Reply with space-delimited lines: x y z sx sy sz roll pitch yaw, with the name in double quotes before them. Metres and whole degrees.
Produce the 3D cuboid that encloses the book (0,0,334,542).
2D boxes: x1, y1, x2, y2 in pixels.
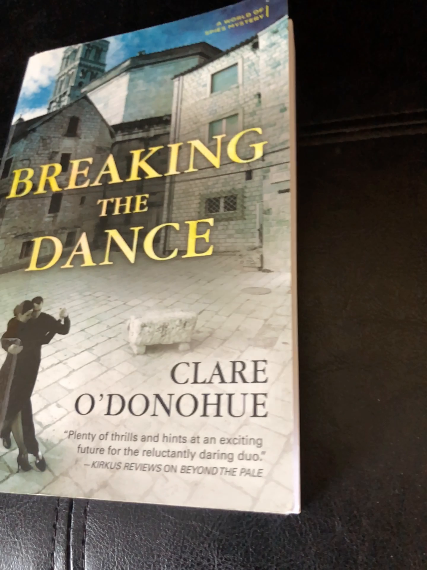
"book" -0.029 -0.023 0.193 0.140 0.040 0.210 -1 68 11
